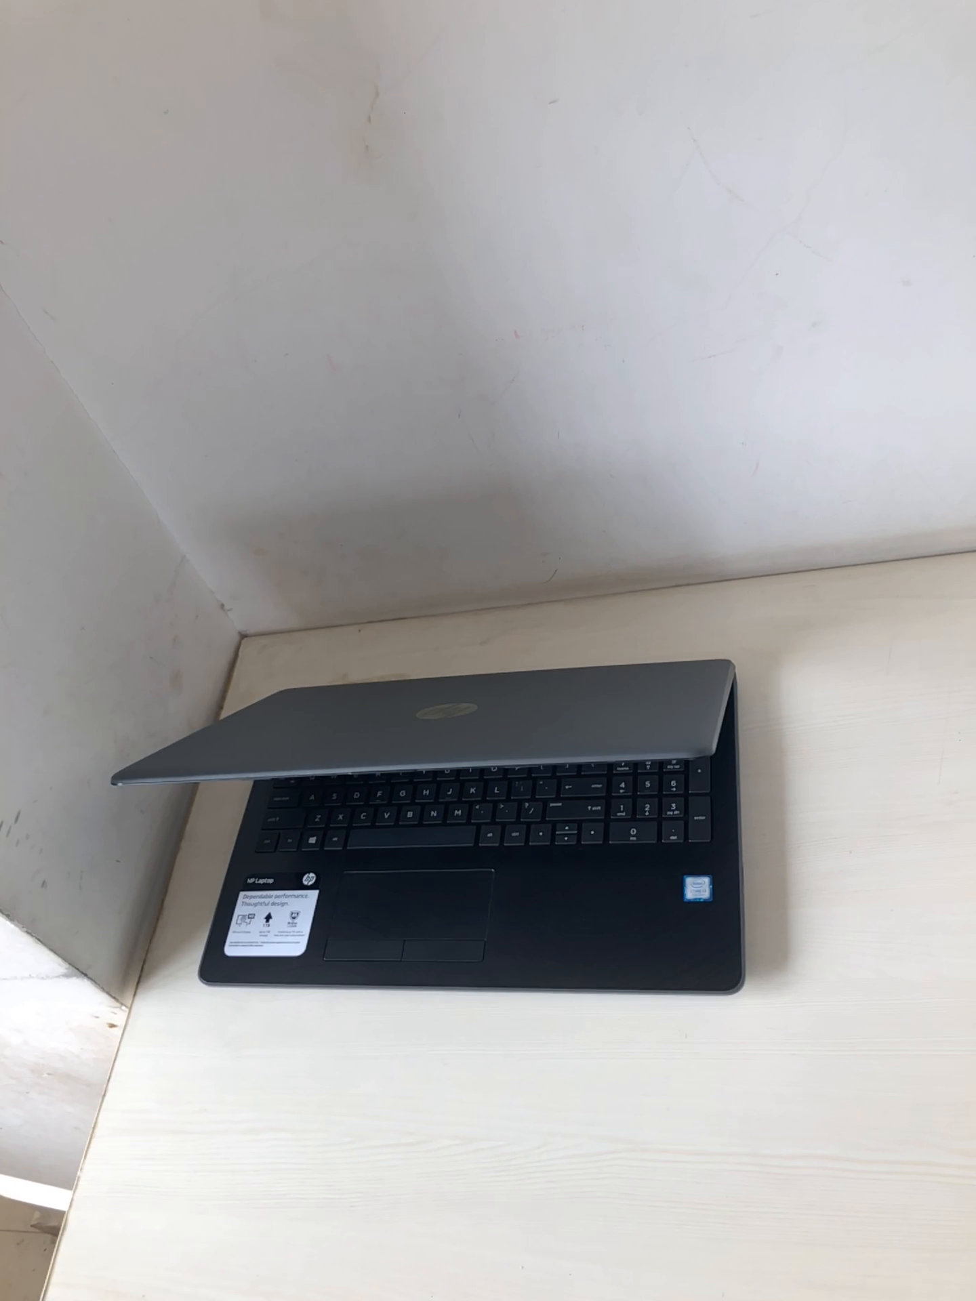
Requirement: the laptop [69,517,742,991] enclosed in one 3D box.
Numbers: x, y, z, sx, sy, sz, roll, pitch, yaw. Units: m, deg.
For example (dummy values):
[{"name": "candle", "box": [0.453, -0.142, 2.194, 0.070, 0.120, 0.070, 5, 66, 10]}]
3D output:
[{"name": "laptop", "box": [-0.031, 0.069, 0.698, 0.356, 0.157, 0.245, -4, 48, 15]}]
